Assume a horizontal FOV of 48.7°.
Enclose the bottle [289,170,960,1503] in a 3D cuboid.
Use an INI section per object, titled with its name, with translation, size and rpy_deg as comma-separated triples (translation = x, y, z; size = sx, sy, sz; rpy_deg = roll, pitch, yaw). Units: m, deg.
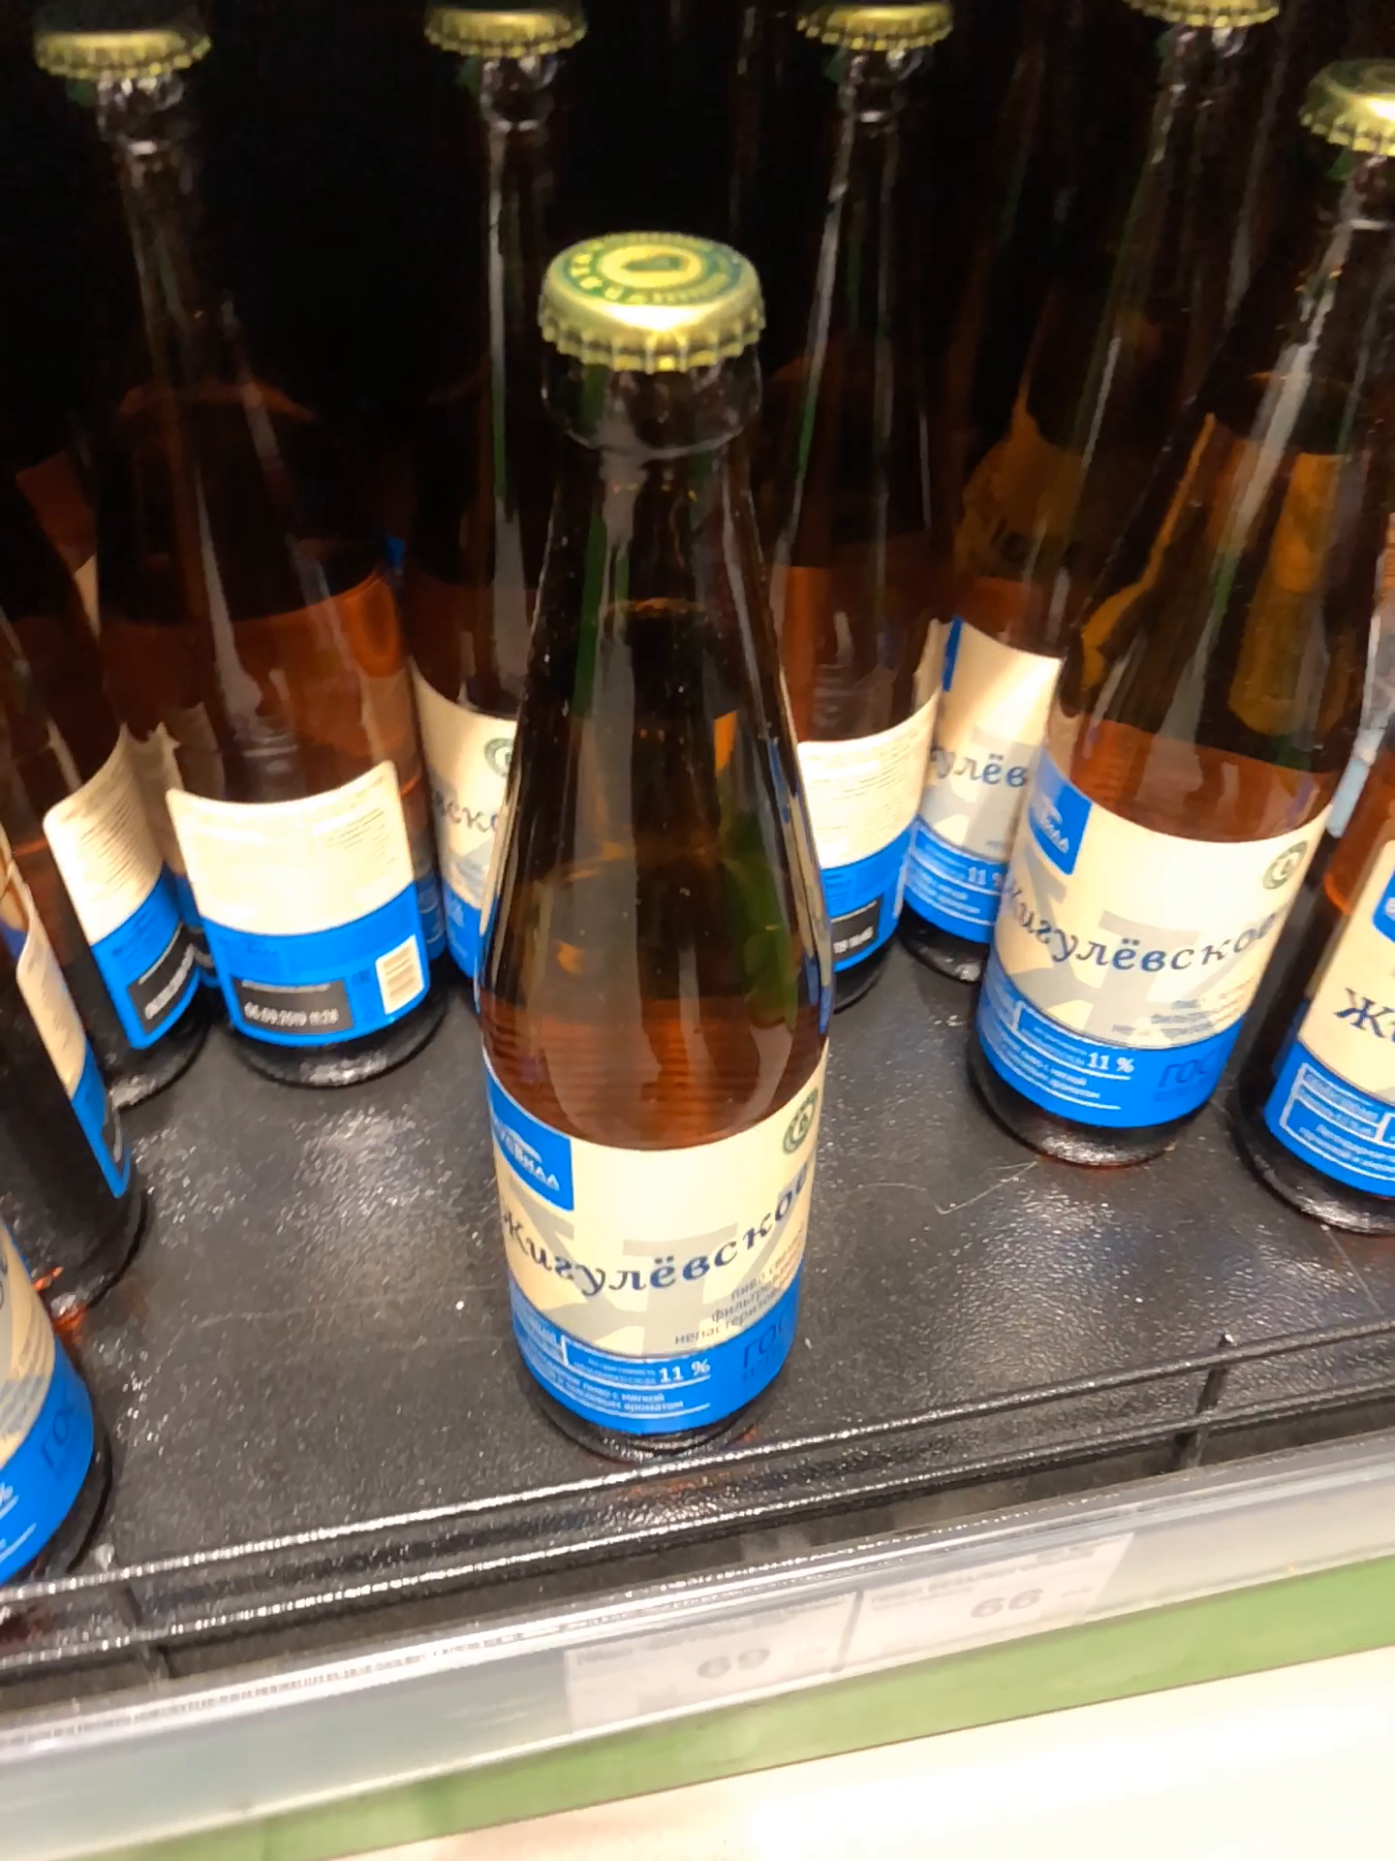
[bottle]
translation = -0.008, 0.010, 0.276
size = 0.070, 0.249, 0.070
rpy_deg = 1, 46, -1
